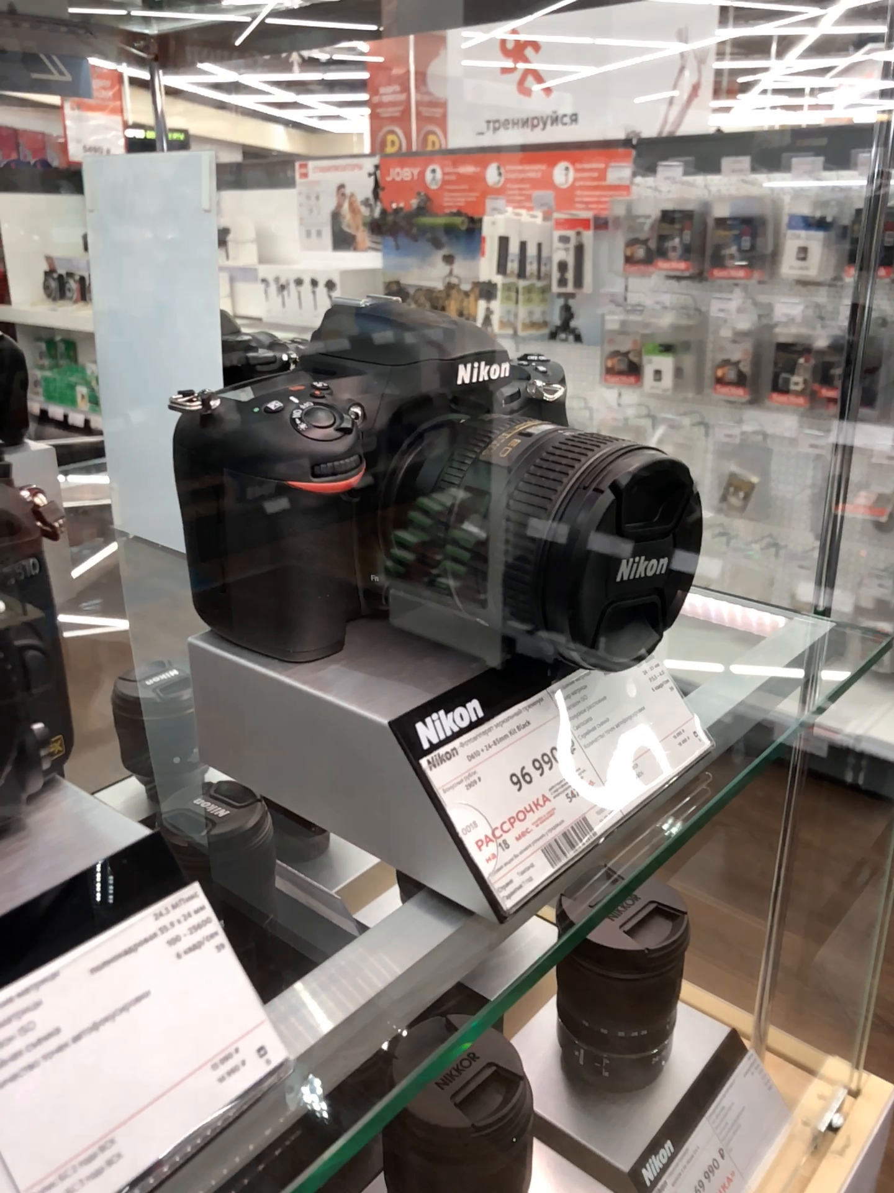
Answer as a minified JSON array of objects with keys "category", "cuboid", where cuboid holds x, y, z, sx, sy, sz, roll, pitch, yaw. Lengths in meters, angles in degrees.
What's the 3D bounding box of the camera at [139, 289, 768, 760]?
[{"category":"camera","cuboid":[0.001,-0.044,0.349,0.148,0.109,0.150,-18,27,-40]}]
